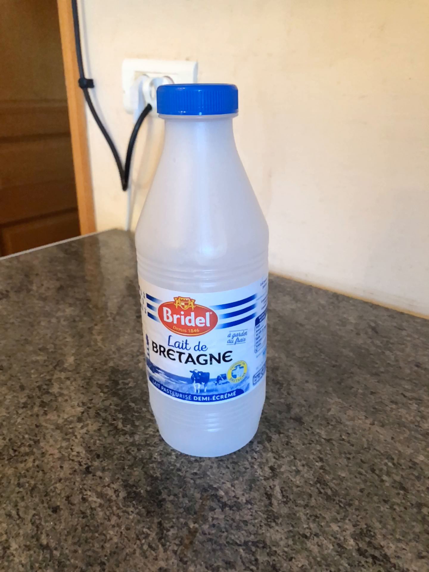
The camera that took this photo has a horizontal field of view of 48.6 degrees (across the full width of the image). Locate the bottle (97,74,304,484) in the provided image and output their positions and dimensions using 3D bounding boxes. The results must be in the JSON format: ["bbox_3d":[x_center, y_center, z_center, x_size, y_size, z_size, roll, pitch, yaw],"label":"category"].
[{"bbox_3d":[-0.004,-0.007,0.311,0.090,0.239,0.091,1,22,0],"label":"bottle"}]
